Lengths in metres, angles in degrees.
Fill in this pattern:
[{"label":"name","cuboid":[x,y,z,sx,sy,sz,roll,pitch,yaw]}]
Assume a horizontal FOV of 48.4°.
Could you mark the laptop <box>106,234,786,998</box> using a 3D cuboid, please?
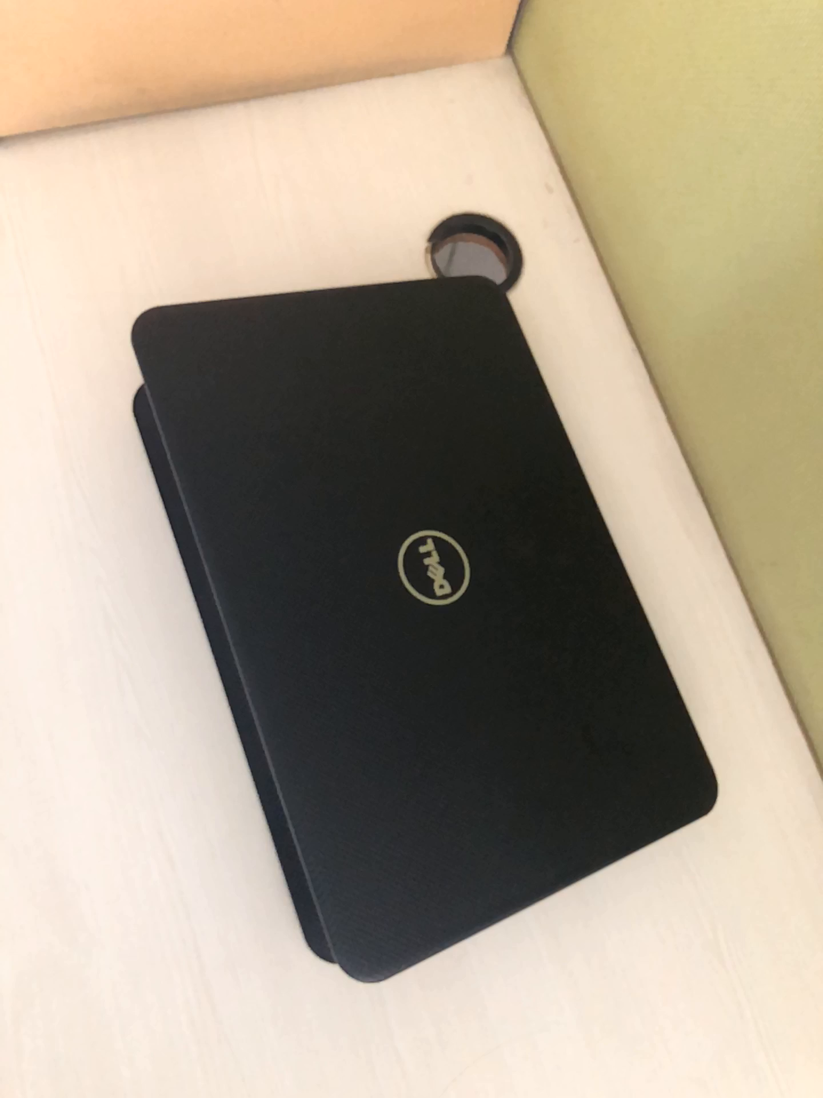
[{"label":"laptop","cuboid":[0.009,0.020,0.518,0.247,0.079,0.353,-18,77,-12]}]
